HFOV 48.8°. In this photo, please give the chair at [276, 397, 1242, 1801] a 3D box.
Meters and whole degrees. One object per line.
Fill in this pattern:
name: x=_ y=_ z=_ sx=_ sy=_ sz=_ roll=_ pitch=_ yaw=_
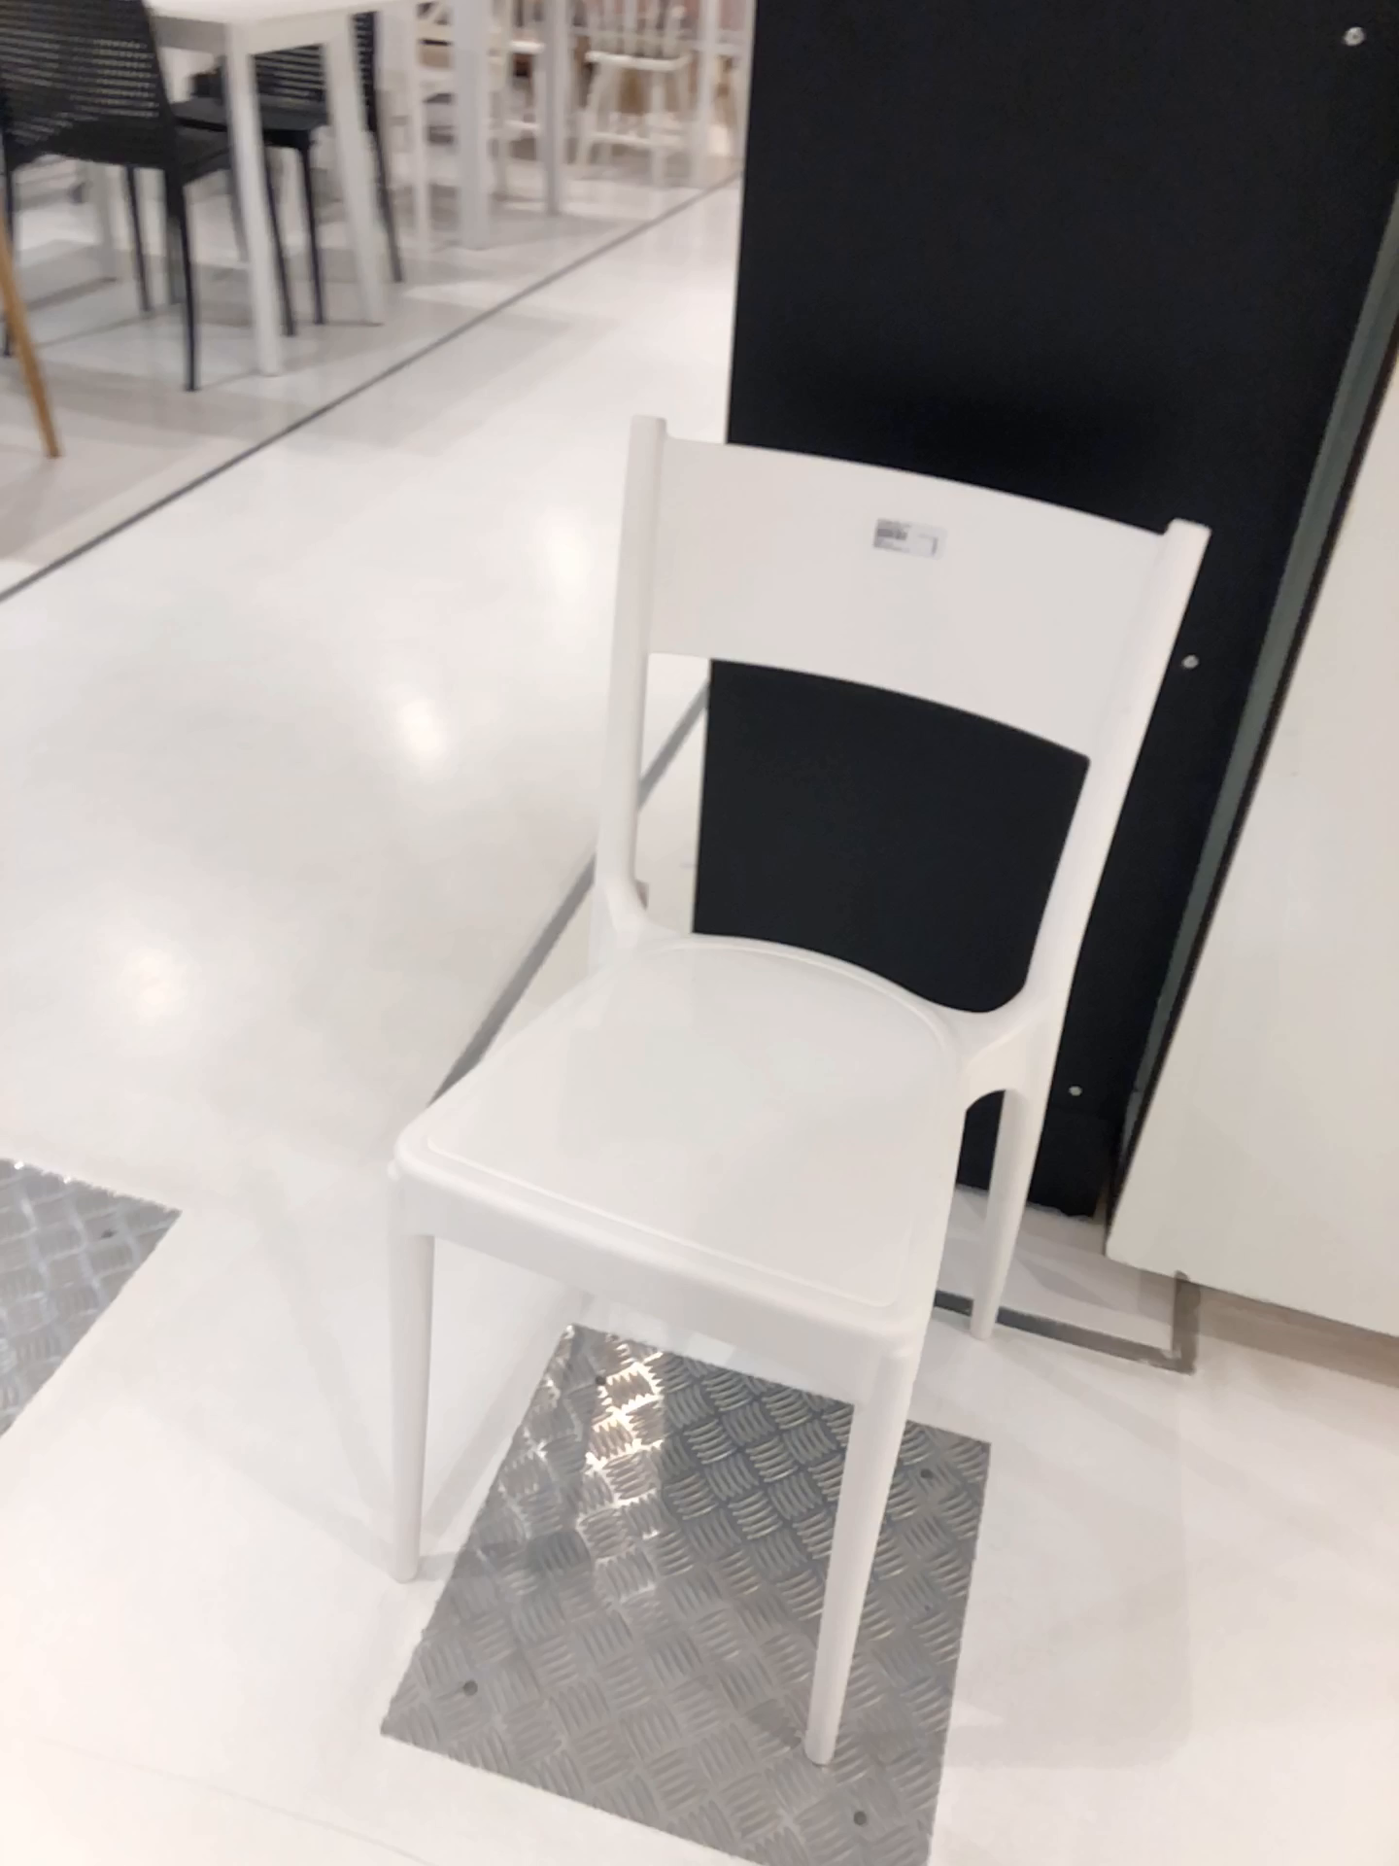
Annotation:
chair: x=0.048 y=0.106 z=1.087 sx=0.410 sy=0.764 sz=0.484 roll=16 pitch=36 yaw=15
